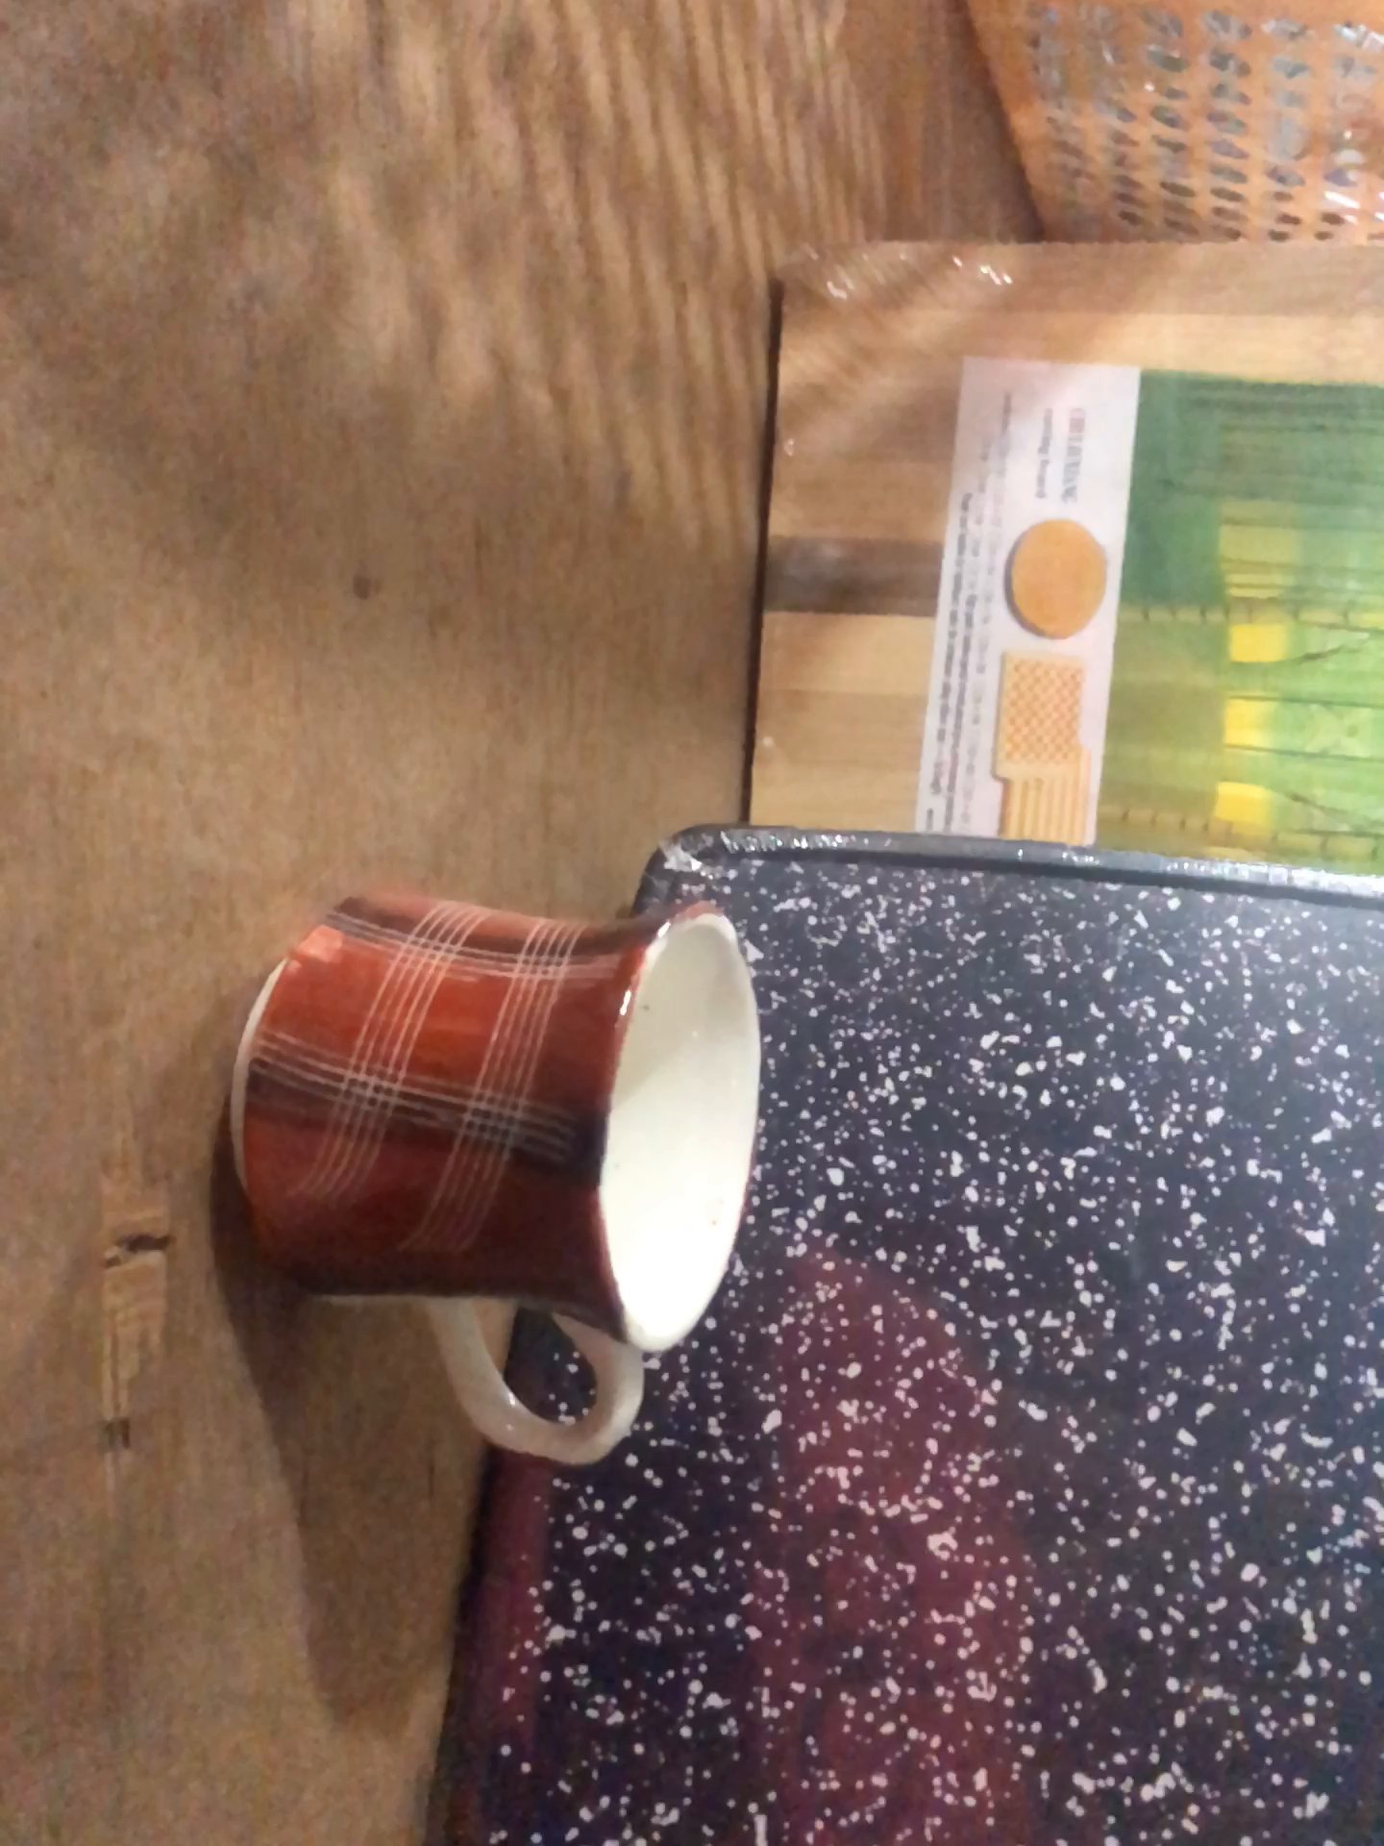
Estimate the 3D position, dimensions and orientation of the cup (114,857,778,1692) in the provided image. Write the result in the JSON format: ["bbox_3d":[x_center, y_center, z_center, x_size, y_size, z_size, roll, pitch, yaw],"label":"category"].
[{"bbox_3d":[-0.028,0.041,0.214,0.060,0.060,0.090,-35,124,-65],"label":"cup"}]
